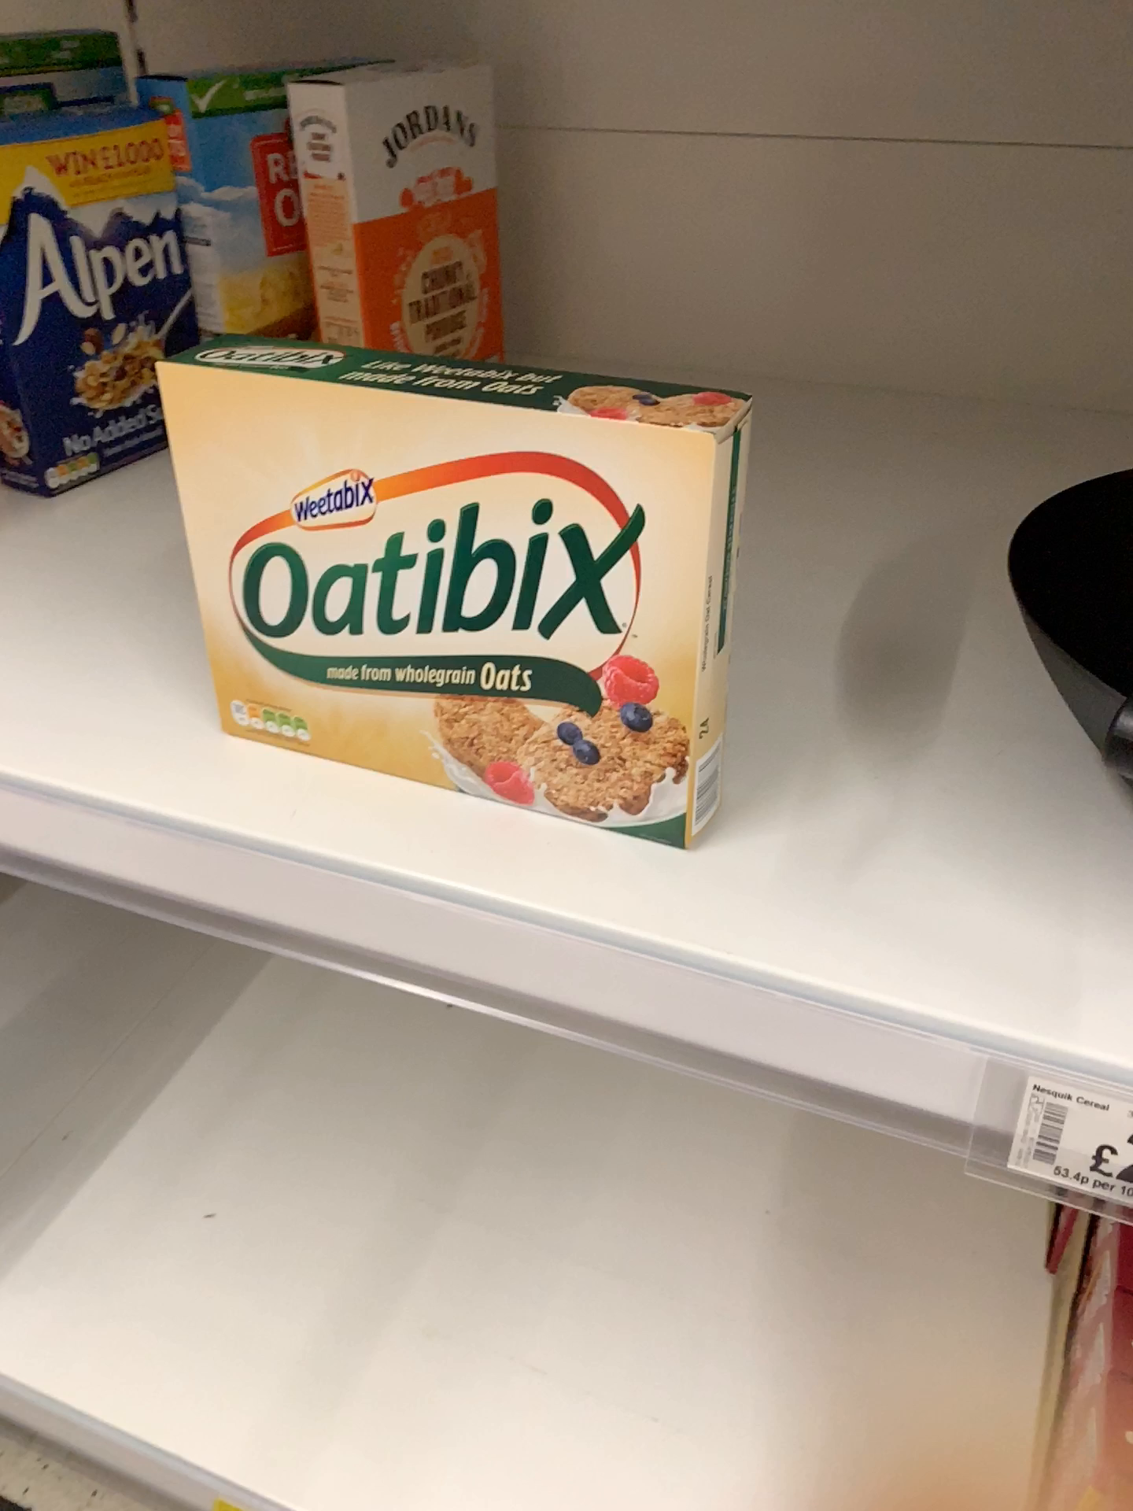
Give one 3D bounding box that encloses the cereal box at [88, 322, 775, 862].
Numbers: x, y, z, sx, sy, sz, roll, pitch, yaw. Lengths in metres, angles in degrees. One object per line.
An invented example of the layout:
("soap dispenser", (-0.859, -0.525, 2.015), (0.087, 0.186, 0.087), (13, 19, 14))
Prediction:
("cereal box", (-0.057, -0.077, 0.508), (0.270, 0.178, 0.071), (13, 37, 20))
